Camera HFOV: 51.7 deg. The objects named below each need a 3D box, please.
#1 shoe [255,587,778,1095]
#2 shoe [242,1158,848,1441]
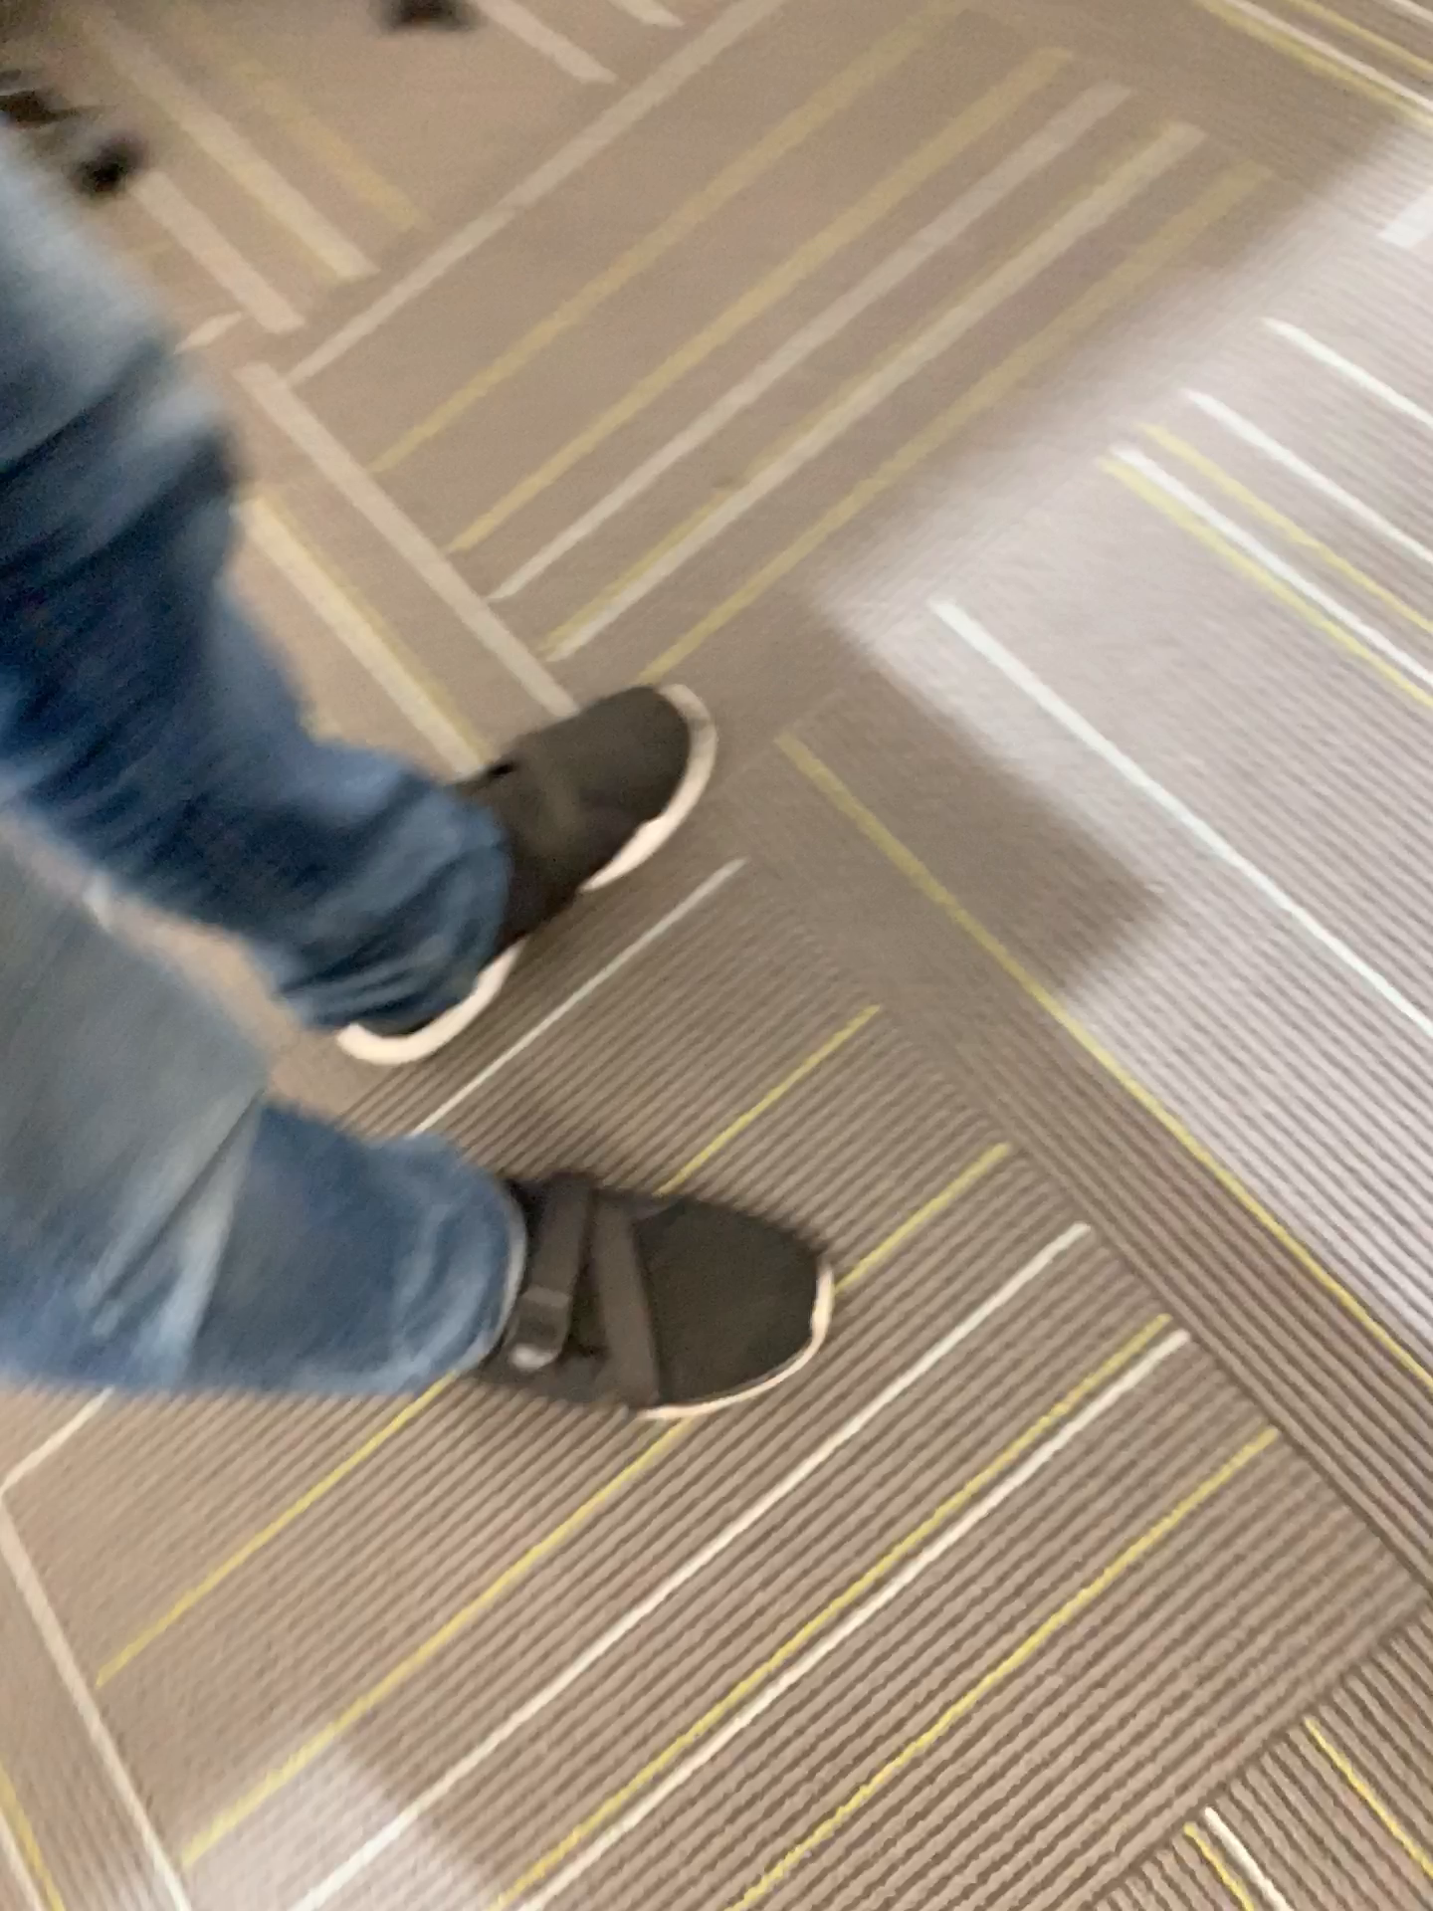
[{"bbox_3d":[-0.122,-0.071,0.950,0.300,0.120,0.120,-43,64,-4],"label":"shoe"},{"bbox_3d":[-0.089,0.189,0.818,0.300,0.110,0.120,0,69,16],"label":"shoe"}]
